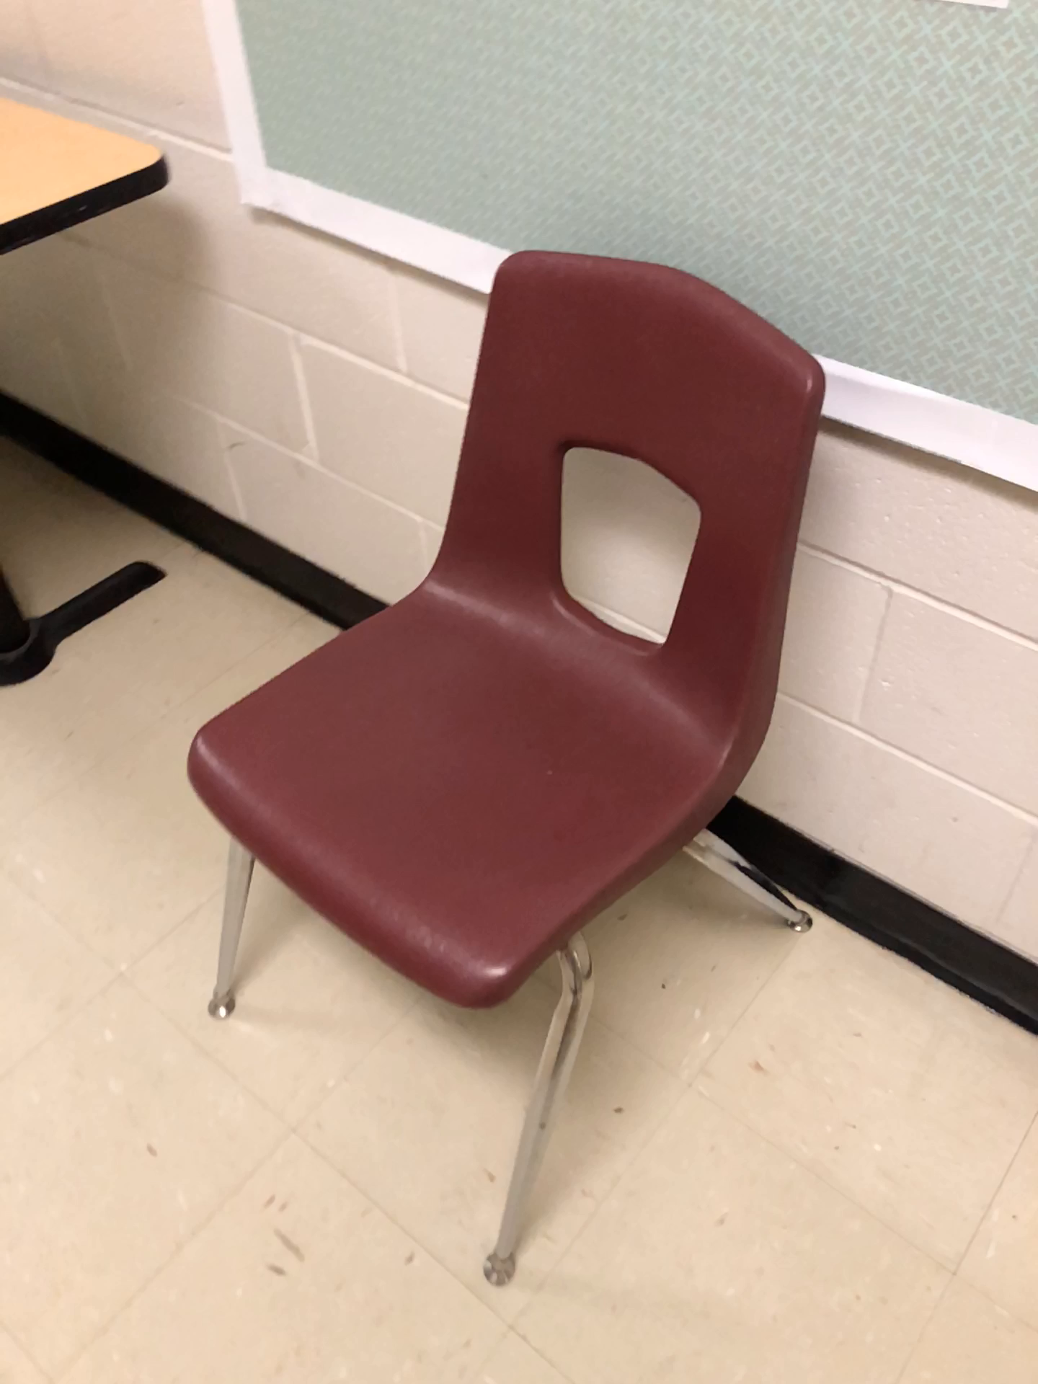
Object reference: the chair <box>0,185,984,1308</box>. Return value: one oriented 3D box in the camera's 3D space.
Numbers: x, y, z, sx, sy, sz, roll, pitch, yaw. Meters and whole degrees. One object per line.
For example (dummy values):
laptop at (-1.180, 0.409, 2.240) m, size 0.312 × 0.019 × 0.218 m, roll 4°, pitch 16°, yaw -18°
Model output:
chair at (-0.026, 0.042, 1.042) m, size 0.505 × 0.707 × 0.555 m, roll 31°, pitch 54°, yaw 29°
